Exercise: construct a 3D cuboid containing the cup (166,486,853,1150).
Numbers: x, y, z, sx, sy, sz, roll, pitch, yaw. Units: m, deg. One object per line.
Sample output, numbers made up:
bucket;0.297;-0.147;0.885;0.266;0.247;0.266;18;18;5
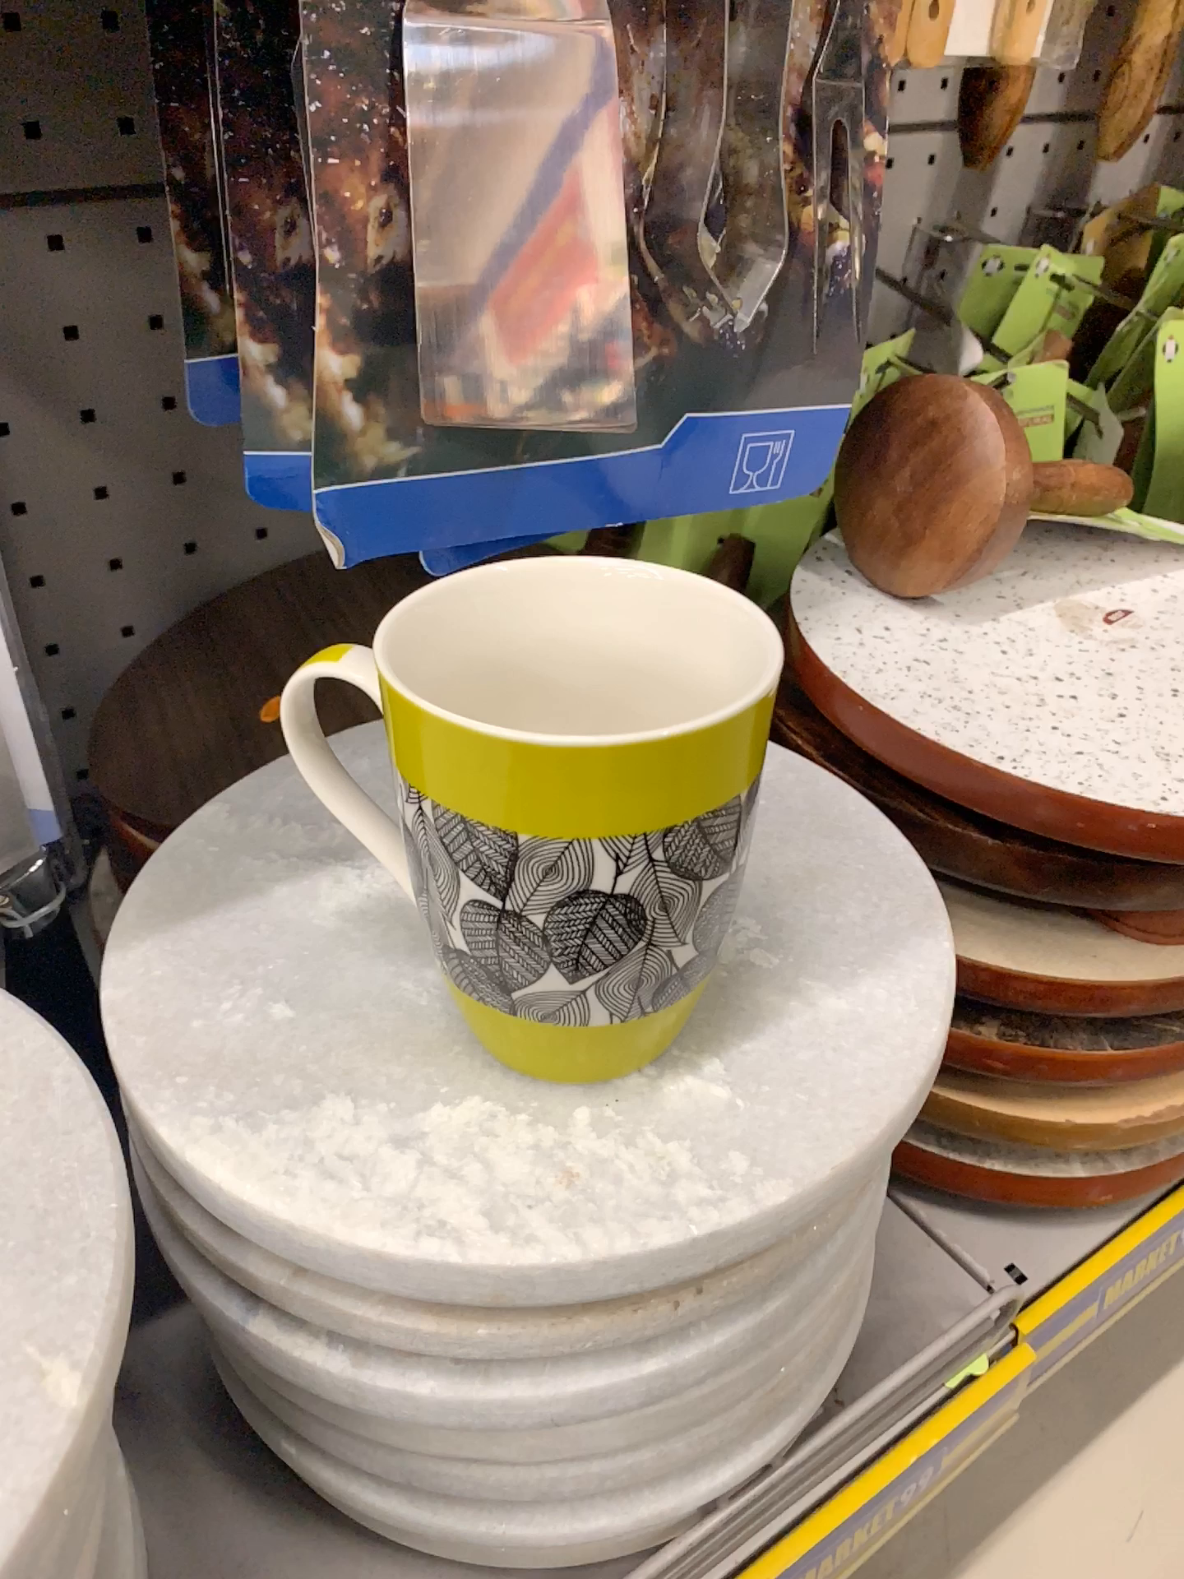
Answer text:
cup;-0.014;0.001;0.264;0.110;0.090;0.080;15;37;16
